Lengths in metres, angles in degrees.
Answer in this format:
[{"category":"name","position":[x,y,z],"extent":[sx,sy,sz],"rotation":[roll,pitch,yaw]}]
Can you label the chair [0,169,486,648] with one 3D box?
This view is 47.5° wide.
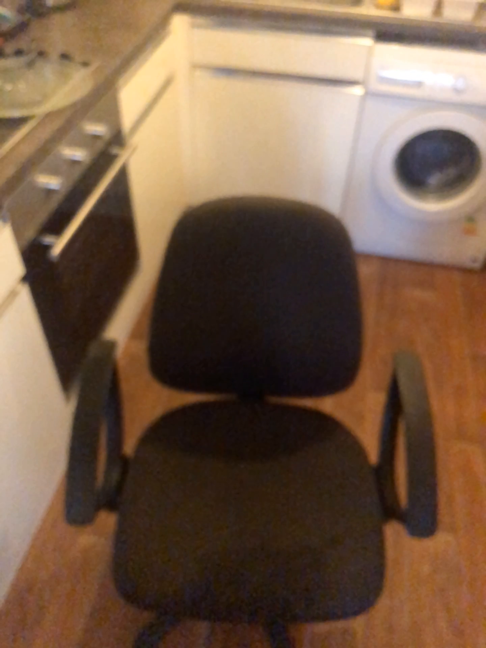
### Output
[{"category":"chair","position":[0.019,0.252,1.177],"extent":[0.685,0.756,0.879],"rotation":[4,44,1]}]
